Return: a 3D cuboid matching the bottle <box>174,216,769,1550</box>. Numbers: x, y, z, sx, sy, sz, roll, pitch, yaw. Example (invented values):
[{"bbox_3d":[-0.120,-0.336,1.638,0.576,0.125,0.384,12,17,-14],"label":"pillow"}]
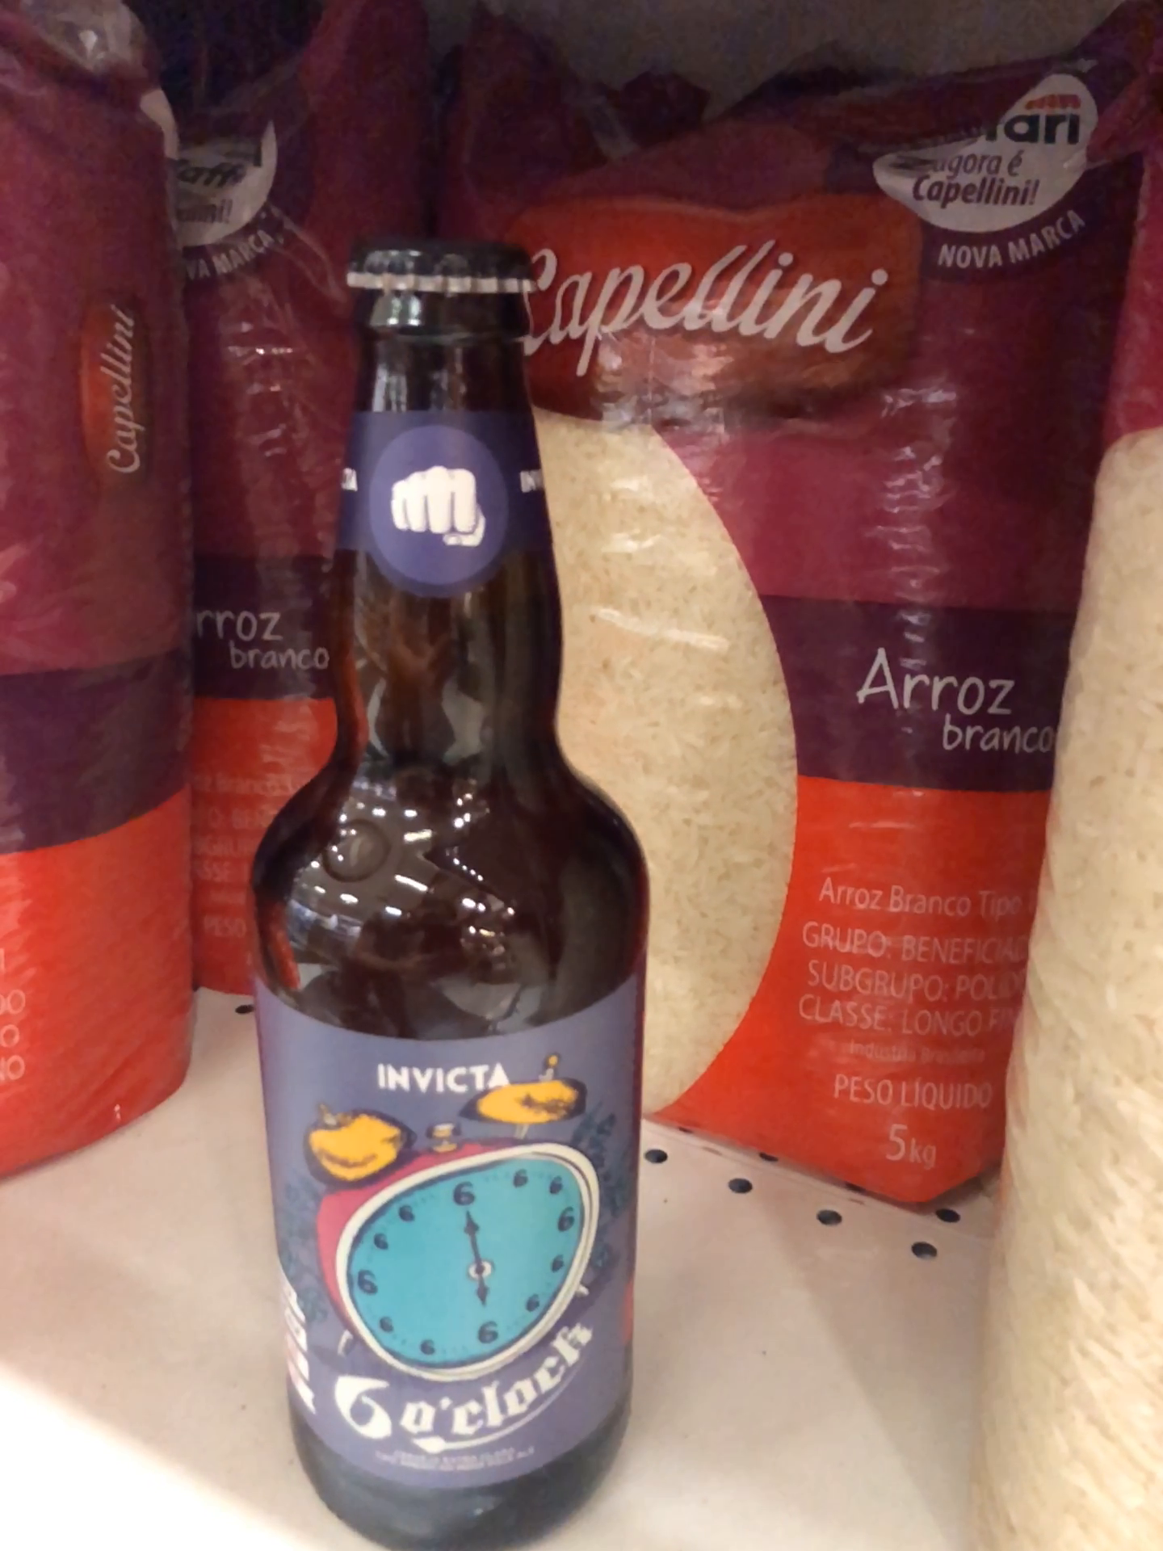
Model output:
[{"bbox_3d":[-0.017,0.028,0.227,0.070,0.228,0.070,1,22,0],"label":"bottle"}]
